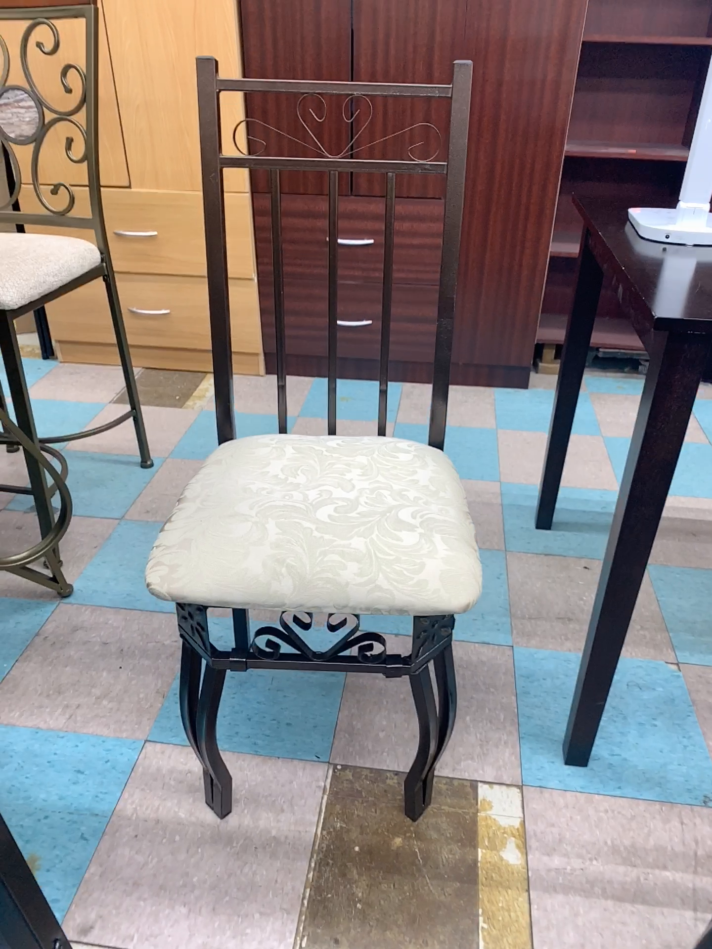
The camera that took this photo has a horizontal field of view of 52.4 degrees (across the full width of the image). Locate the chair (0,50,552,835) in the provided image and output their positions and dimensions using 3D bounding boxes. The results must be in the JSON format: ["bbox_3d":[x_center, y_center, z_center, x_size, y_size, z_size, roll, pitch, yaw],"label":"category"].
[{"bbox_3d":[-0.058,-0.023,0.990,0.415,0.950,0.478,1,31,1],"label":"chair"}]
